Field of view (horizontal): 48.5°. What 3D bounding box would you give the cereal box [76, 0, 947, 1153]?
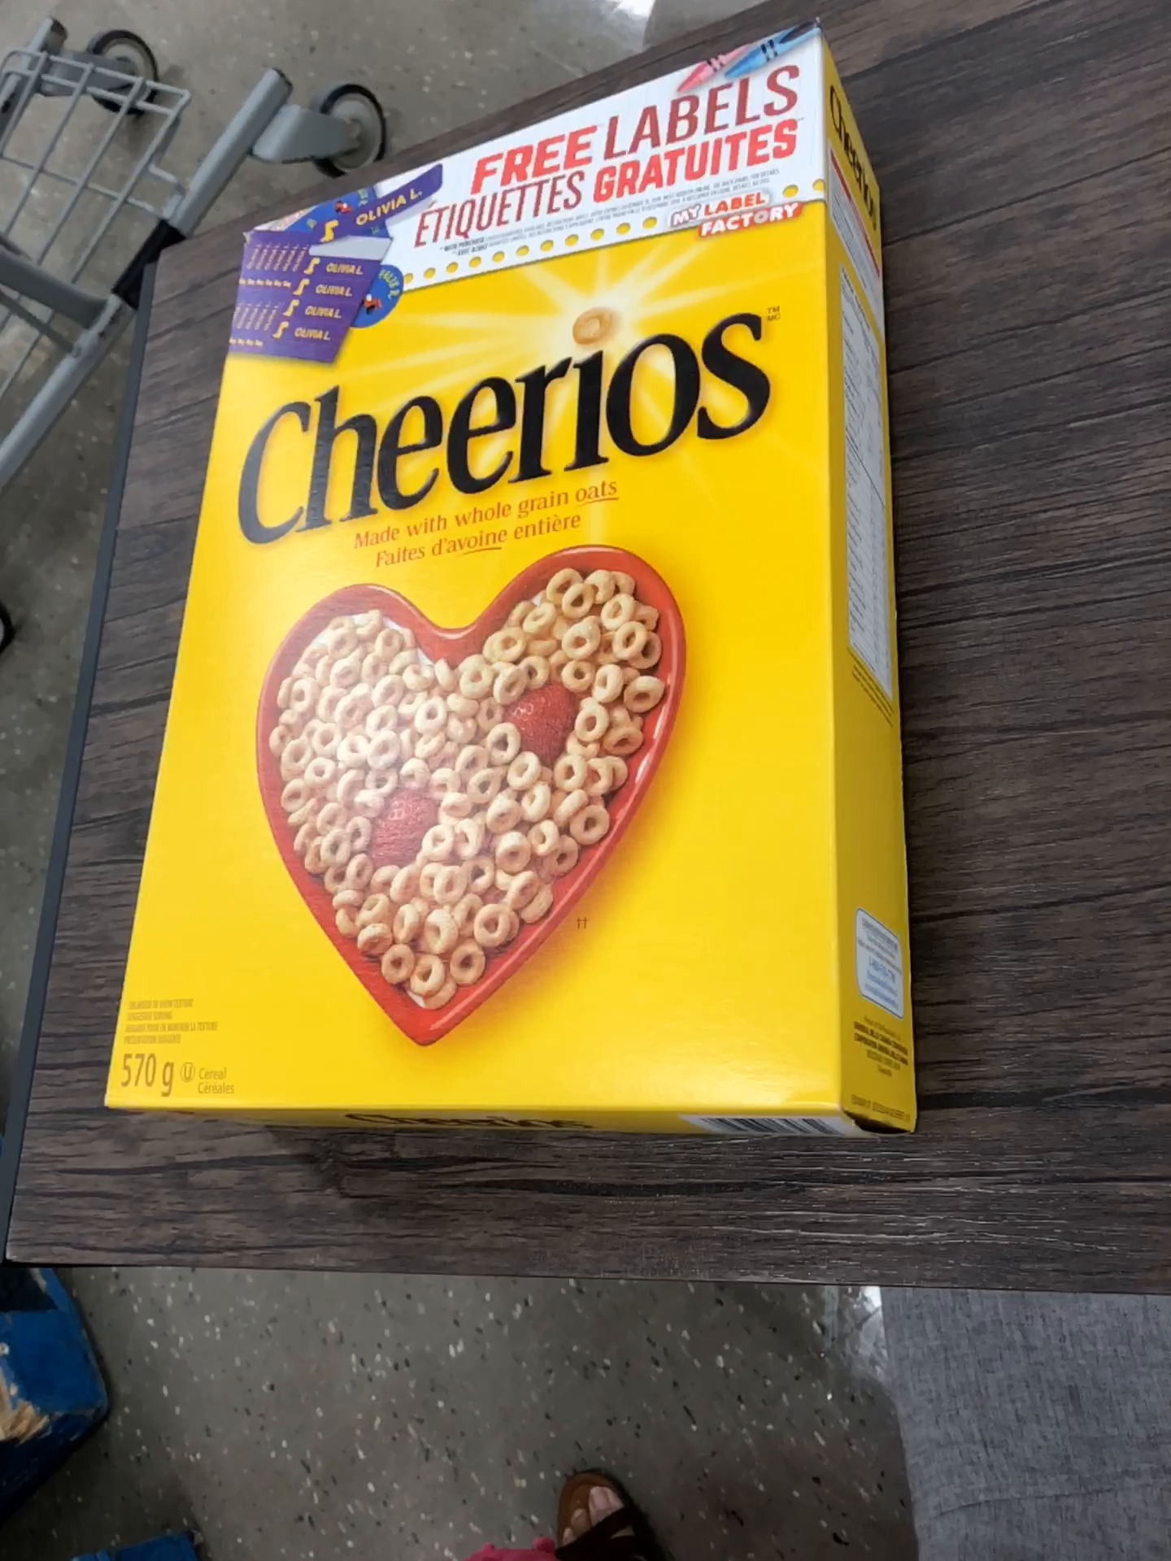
[{"bbox_3d":[-0.020,-0.055,0.440,0.241,0.100,0.340,-7,69,26],"label":"cereal box"}]
